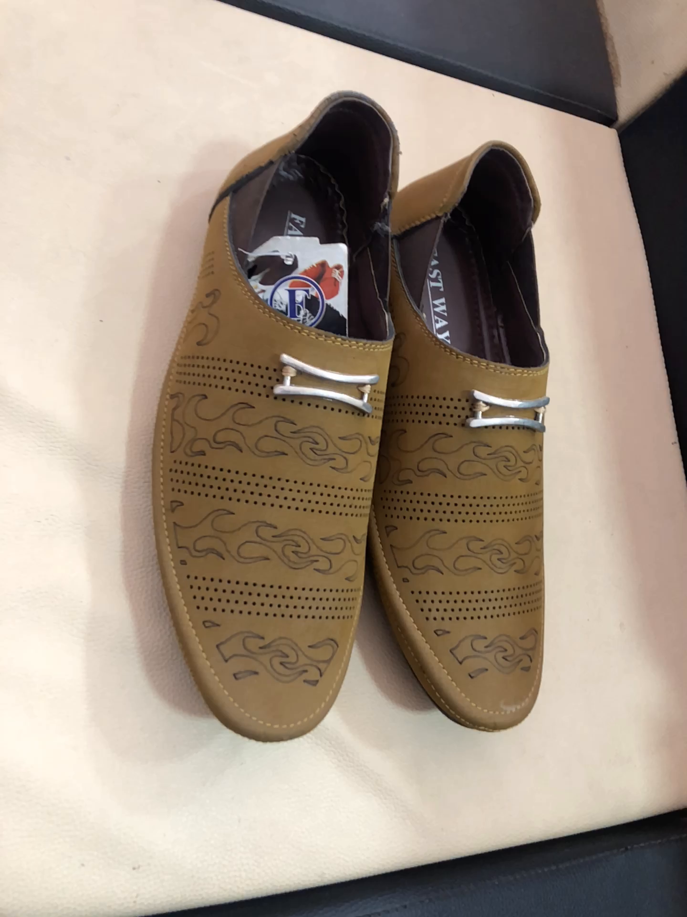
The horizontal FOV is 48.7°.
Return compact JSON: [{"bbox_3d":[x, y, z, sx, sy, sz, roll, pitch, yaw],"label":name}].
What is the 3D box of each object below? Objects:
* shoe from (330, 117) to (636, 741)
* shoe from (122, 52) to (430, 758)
[{"bbox_3d":[0.058,-0.011,0.386,0.100,0.100,0.280,6,73,-21],"label":"shoe"},{"bbox_3d":[-0.034,-0.020,0.346,0.100,0.100,0.280,6,73,-21],"label":"shoe"}]
